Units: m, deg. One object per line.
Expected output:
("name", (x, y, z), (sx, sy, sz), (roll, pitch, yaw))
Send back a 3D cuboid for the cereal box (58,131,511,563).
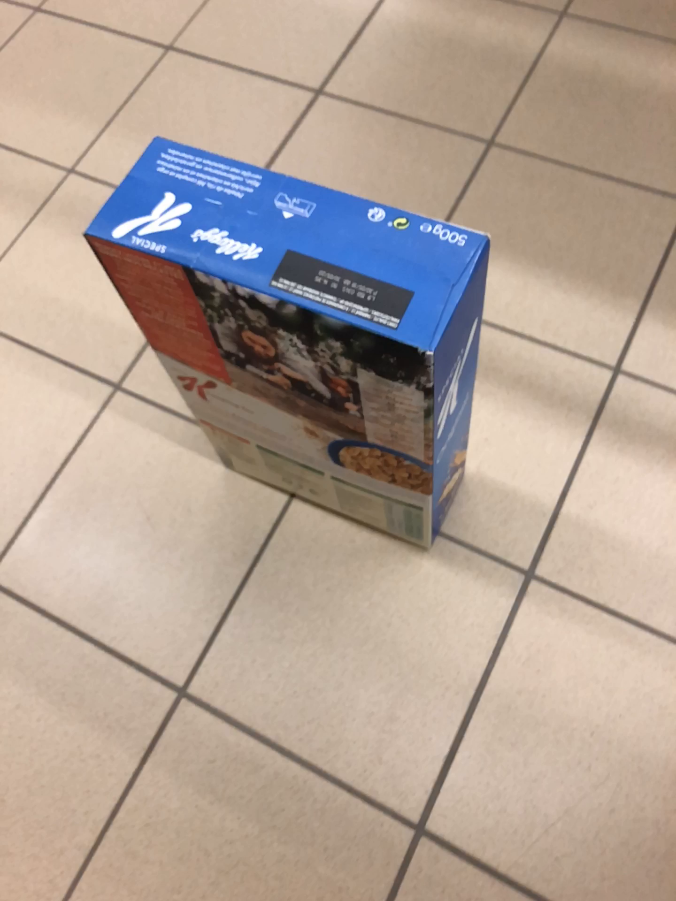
("cereal box", (-0.015, -0.041, 0.492), (0.210, 0.299, 0.070), (21, 69, 15))
